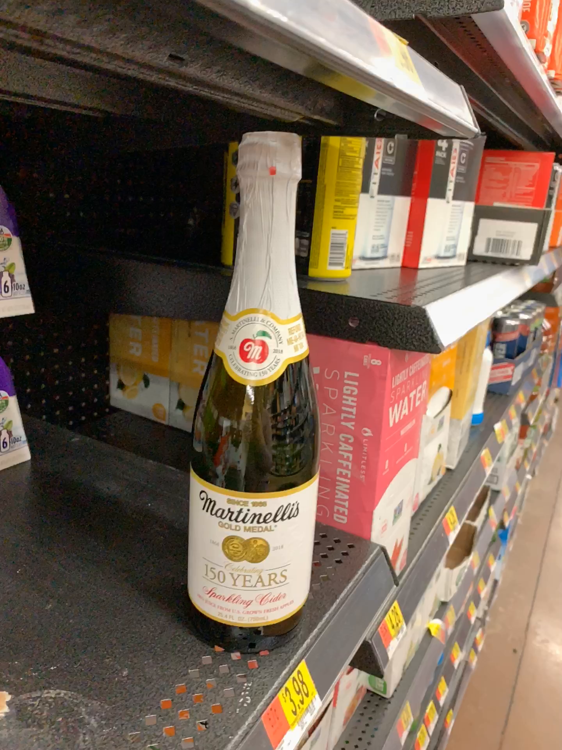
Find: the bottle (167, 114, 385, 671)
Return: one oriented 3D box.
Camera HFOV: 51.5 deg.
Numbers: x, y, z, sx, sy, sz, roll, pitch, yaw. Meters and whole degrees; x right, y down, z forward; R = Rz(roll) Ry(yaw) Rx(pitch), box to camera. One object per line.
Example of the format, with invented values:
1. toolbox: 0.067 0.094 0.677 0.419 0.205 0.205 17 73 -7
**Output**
1. bottle: -0.006 0.015 0.348 0.089 0.299 0.090 5 18 -2
